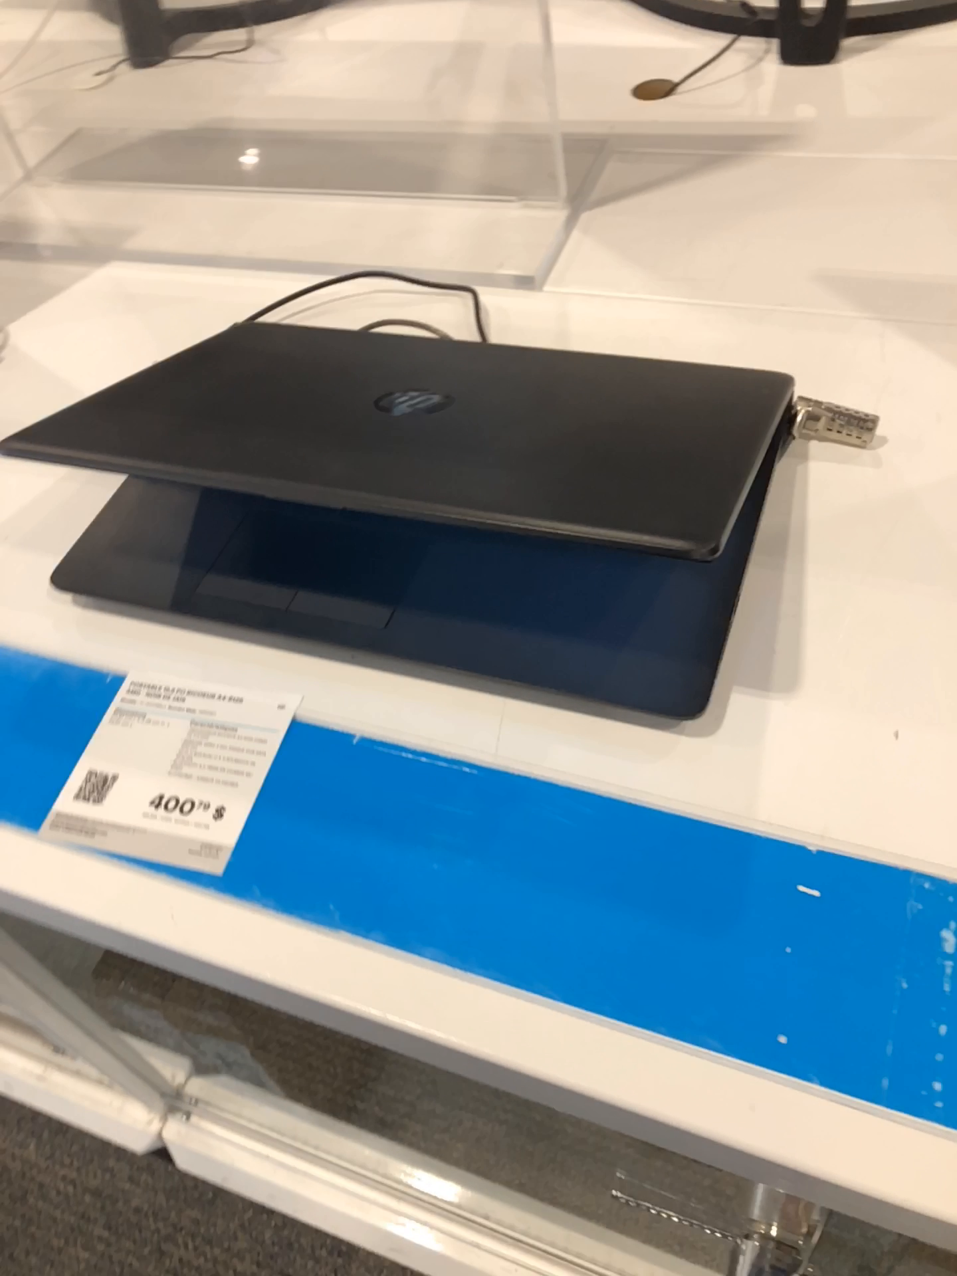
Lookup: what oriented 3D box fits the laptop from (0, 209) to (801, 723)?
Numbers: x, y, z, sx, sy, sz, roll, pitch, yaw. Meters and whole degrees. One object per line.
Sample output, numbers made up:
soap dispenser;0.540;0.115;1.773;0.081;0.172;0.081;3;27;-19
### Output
laptop;-0.040;-0.111;0.562;0.366;0.092;0.235;11;53;16
